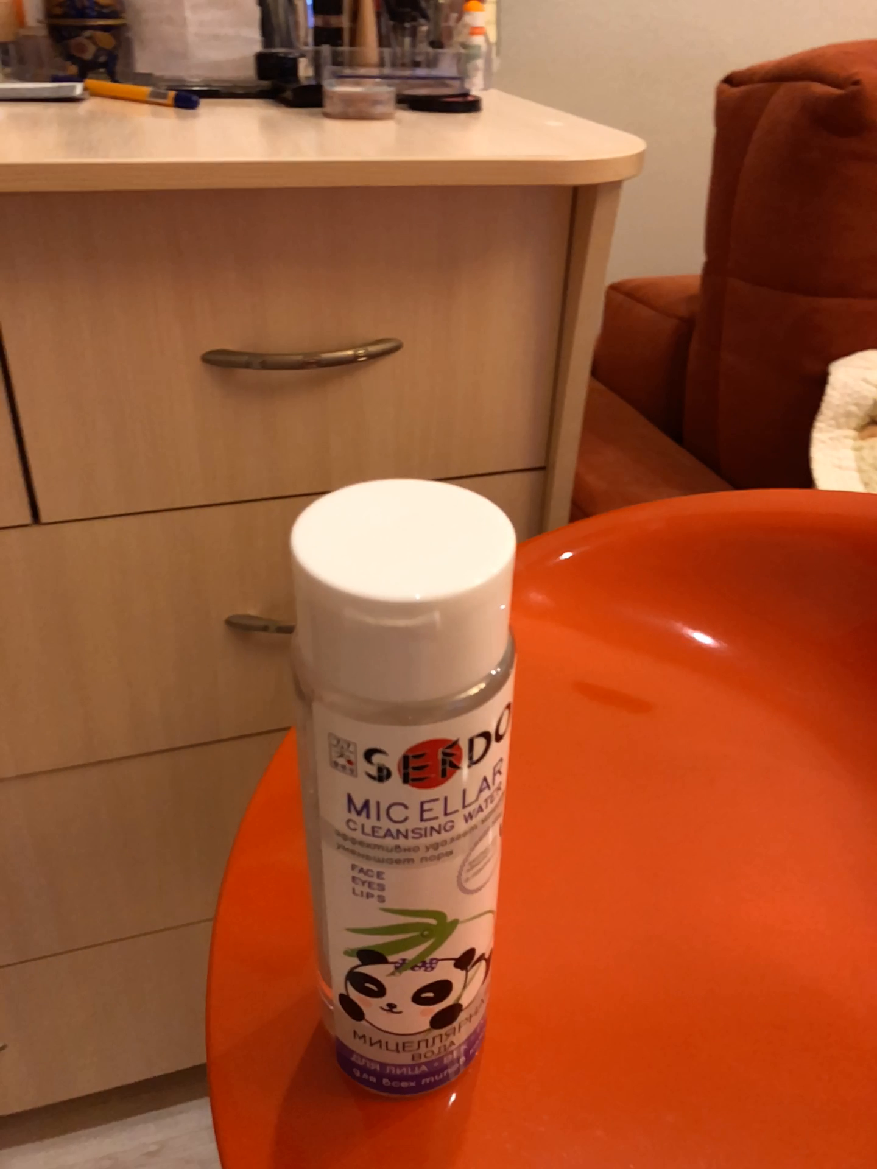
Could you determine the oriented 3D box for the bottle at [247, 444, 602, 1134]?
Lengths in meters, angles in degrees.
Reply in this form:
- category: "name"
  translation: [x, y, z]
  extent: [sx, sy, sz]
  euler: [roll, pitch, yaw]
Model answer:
- category: "bottle"
  translation: [-0.008, 0.056, 0.237]
  extent: [0.053, 0.166, 0.052]
  euler: [2, 34, -1]
